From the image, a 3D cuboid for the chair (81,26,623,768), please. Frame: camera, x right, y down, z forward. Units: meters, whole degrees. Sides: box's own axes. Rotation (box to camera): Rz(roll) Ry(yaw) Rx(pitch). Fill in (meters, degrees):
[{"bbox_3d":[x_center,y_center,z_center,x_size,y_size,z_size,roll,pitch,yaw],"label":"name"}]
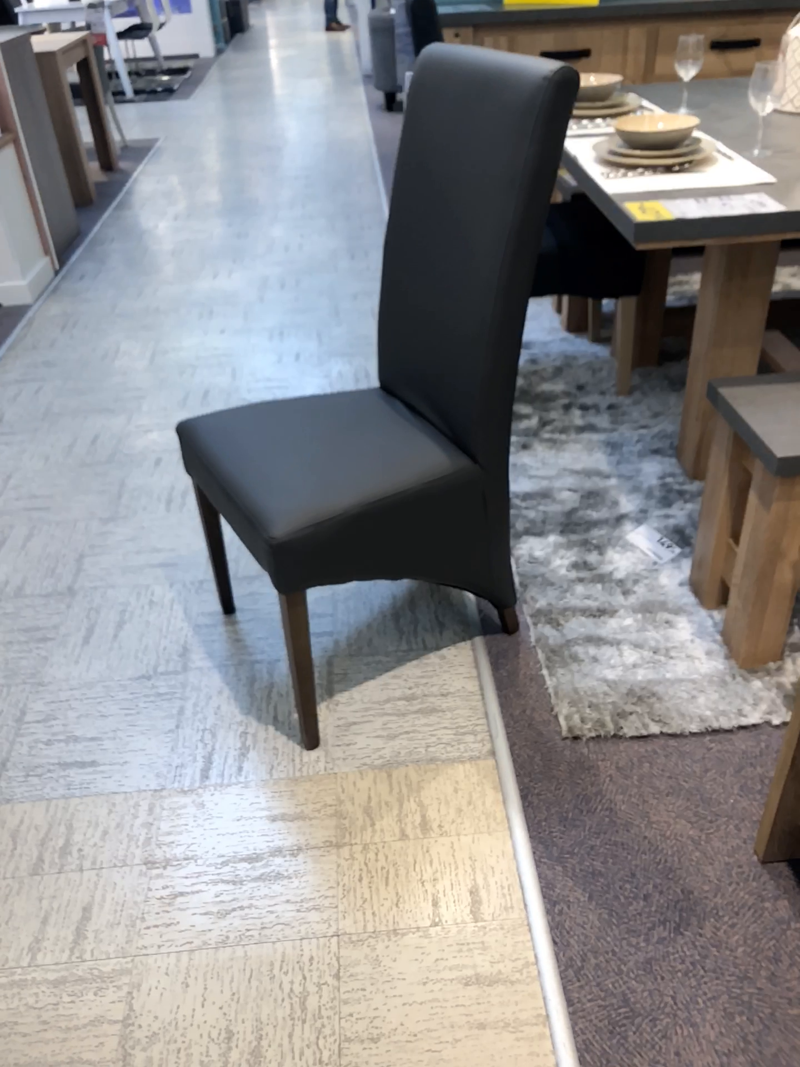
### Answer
[{"bbox_3d":[-0.069,-0.241,1.487,0.572,1.014,0.522,-19,37,-23],"label":"chair"}]
